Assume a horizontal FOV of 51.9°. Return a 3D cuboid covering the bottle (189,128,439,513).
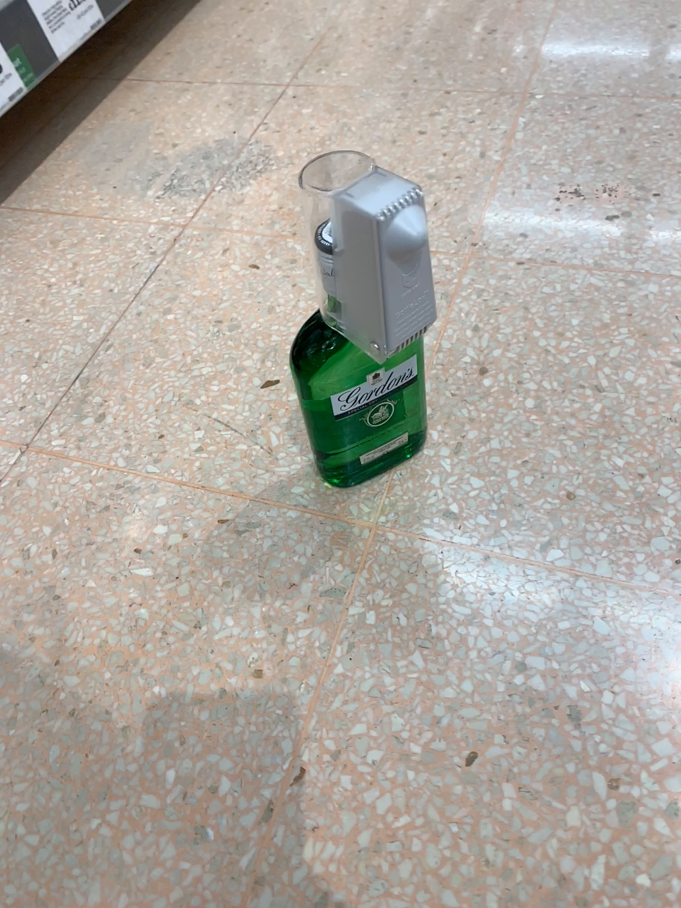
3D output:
[{"bbox_3d":[-0.002,-0.064,0.410,0.102,0.203,0.056,-27,53,-12],"label":"bottle"}]
